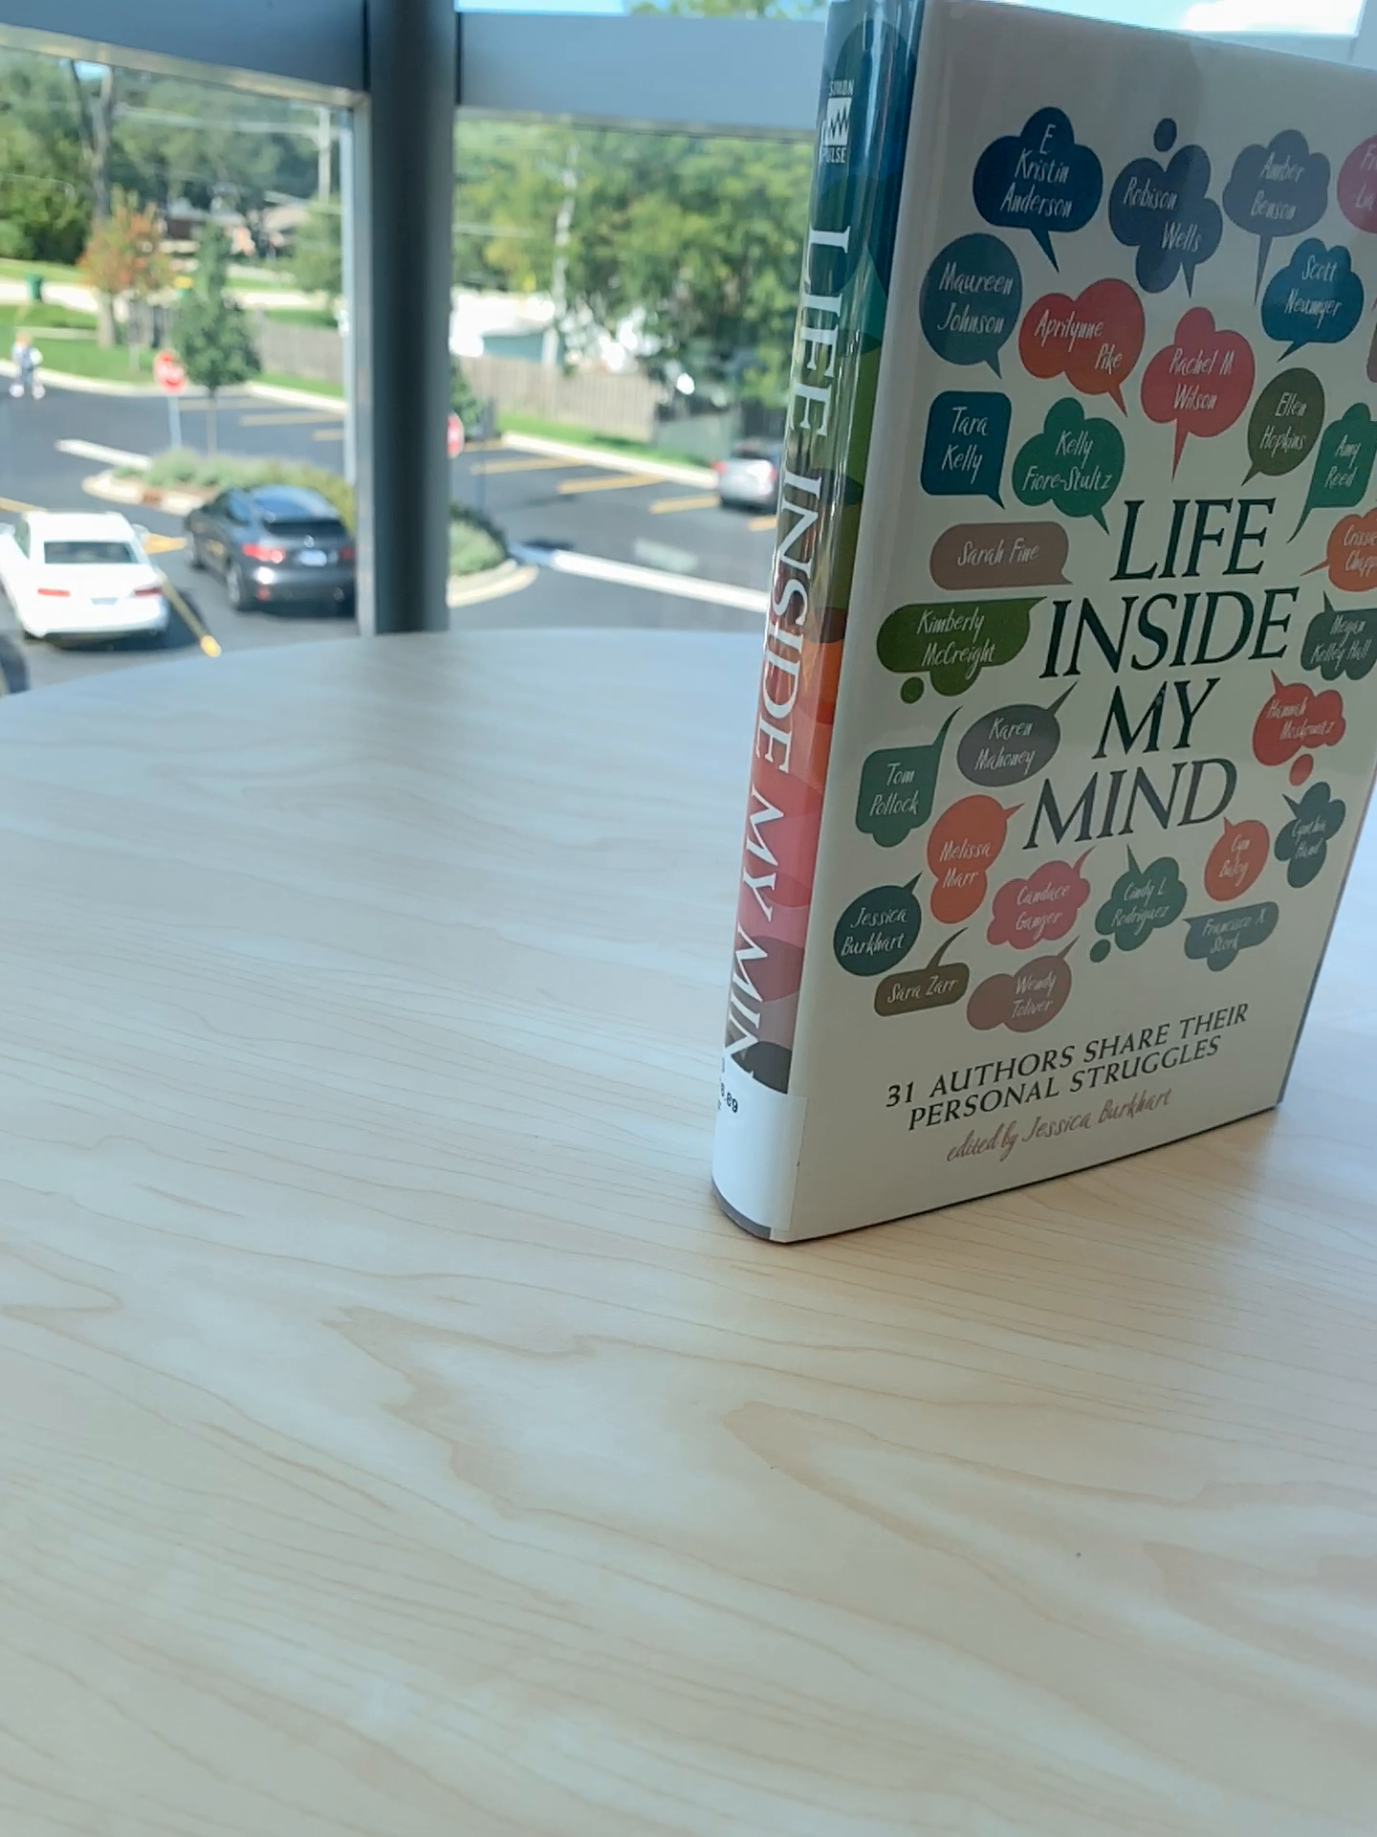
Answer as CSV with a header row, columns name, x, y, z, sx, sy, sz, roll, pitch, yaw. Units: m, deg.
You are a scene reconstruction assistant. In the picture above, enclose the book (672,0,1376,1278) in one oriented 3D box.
name,x,y,z,sx,sy,sz,roll,pitch,yaw
book,0.080,-0.043,0.279,0.150,0.218,0.030,-9,30,-28
